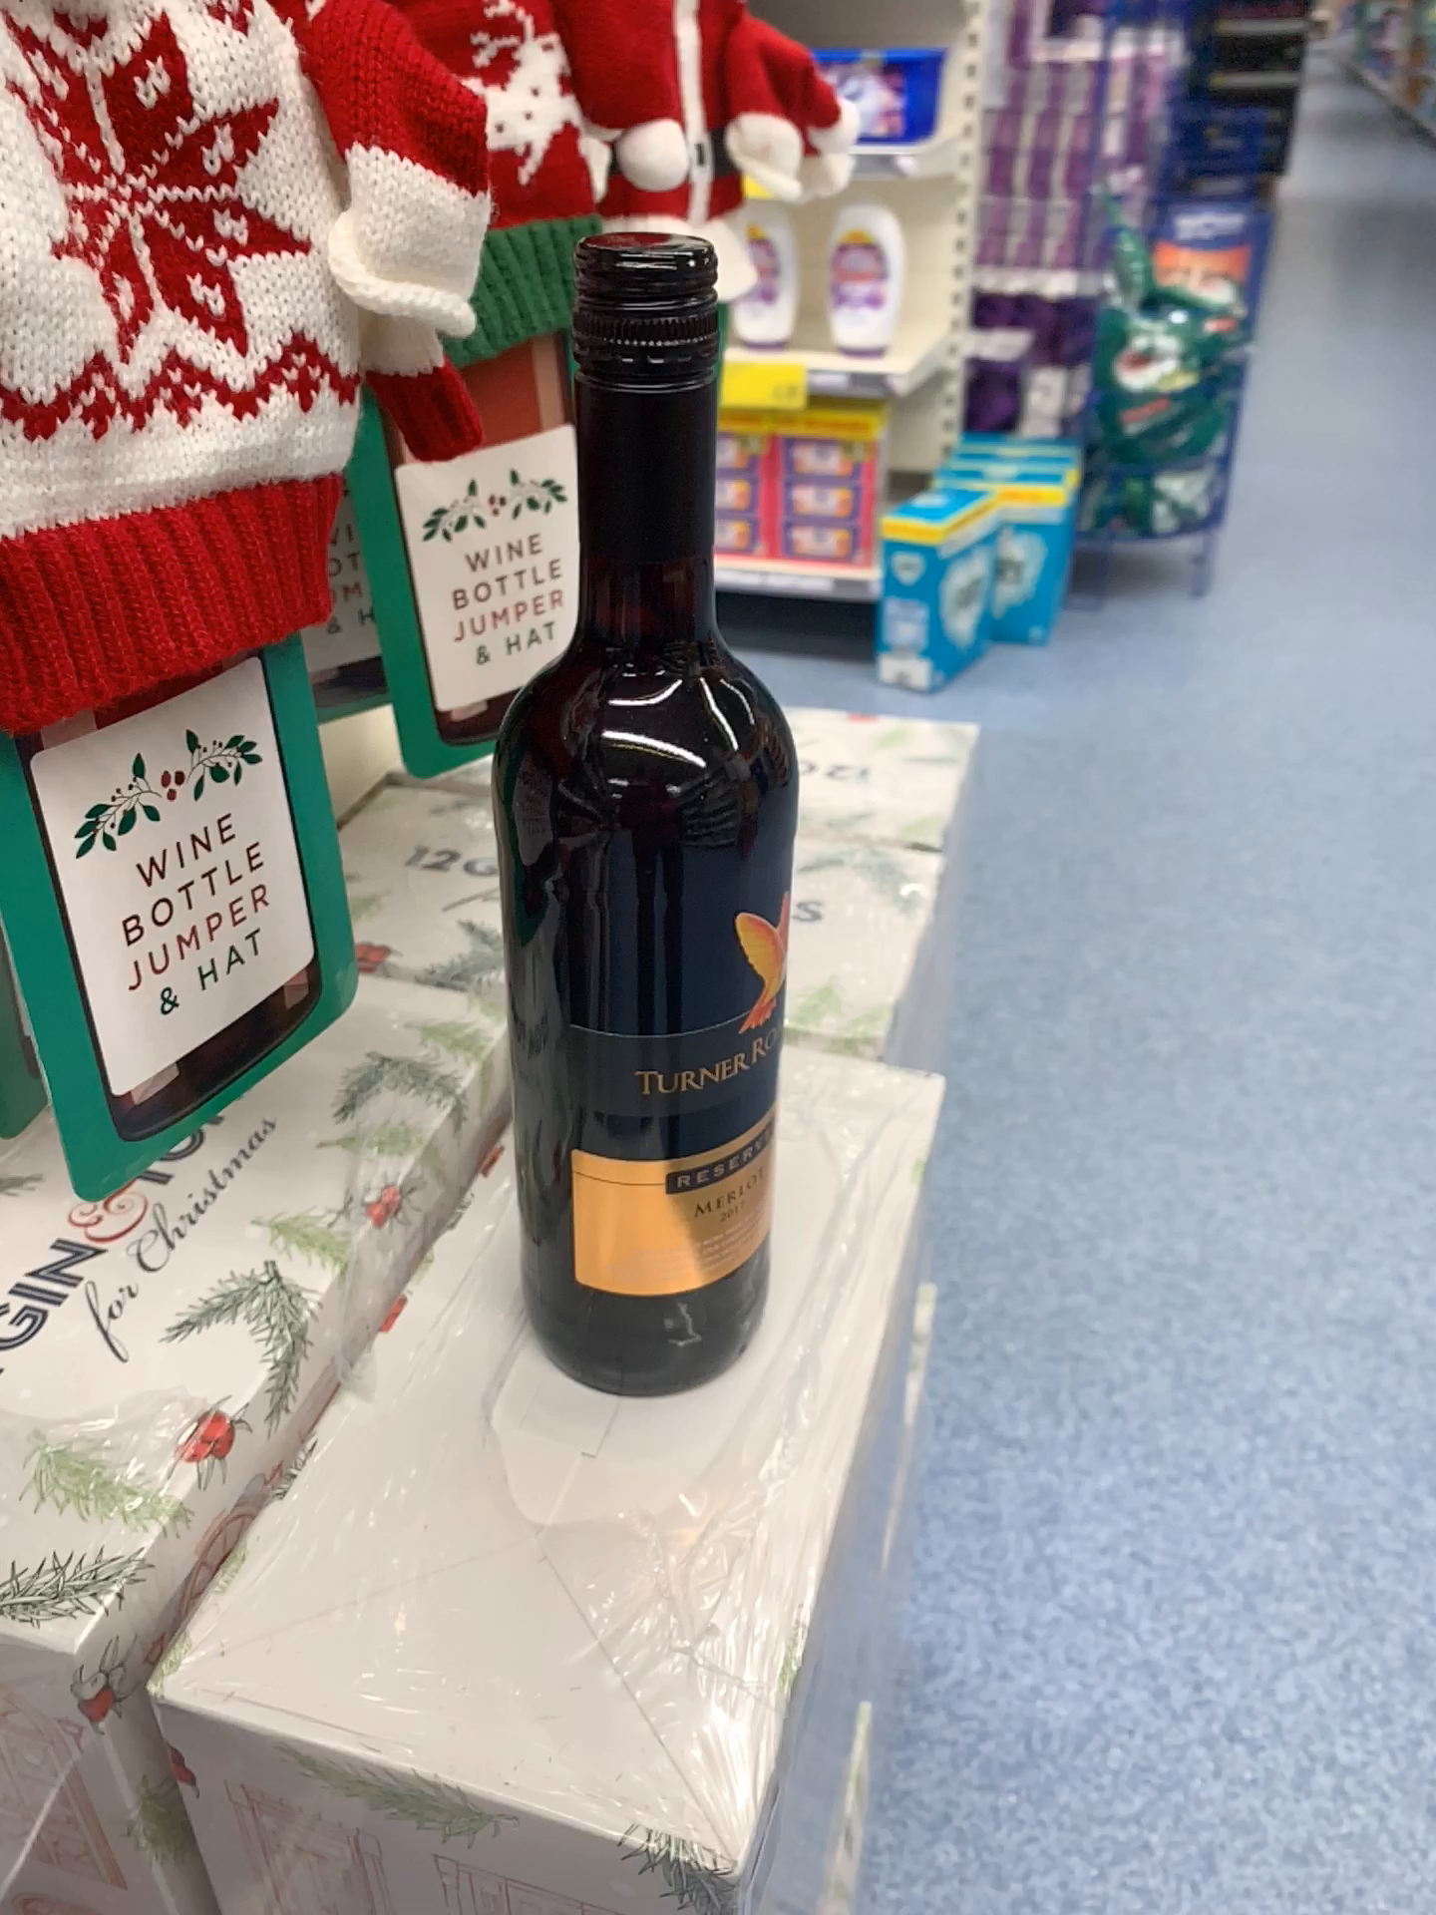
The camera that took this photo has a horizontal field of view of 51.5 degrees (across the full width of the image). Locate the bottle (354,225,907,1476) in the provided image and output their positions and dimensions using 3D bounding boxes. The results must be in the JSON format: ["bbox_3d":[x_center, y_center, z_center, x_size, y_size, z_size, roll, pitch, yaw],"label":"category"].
[{"bbox_3d":[-0.015,-0.013,0.365,0.078,0.288,0.074,-1,32,0],"label":"bottle"}]
